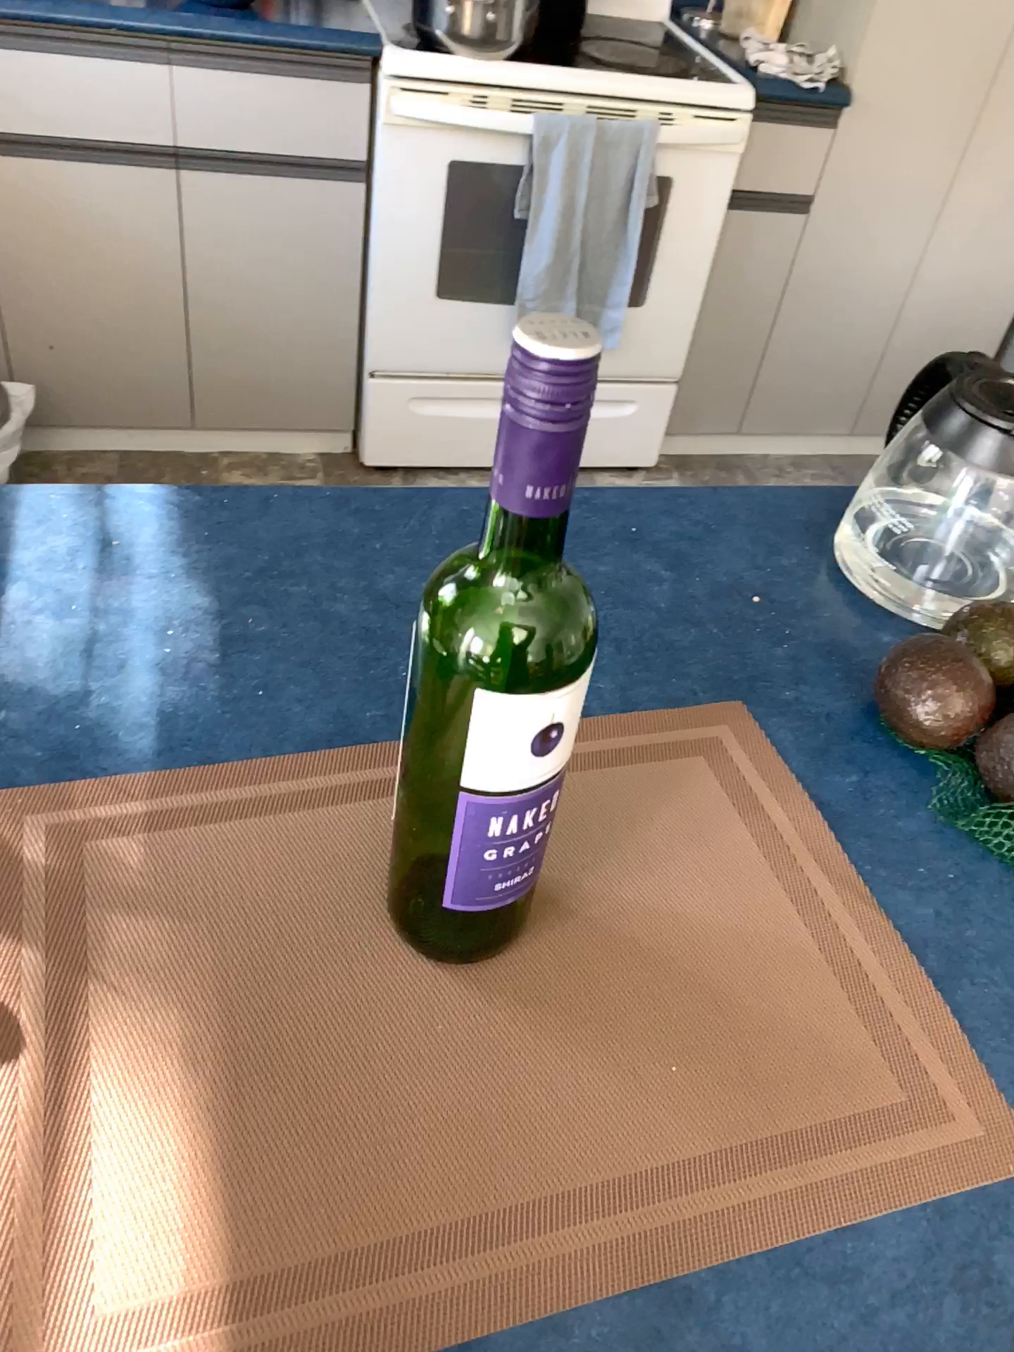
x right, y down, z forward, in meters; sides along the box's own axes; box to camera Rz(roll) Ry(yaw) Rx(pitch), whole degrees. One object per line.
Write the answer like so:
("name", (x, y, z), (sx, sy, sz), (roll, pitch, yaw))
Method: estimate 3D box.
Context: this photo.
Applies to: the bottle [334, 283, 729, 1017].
("bottle", (-0.009, 0.008, 0.407), (0.080, 0.287, 0.080), (6, 41, -5))
